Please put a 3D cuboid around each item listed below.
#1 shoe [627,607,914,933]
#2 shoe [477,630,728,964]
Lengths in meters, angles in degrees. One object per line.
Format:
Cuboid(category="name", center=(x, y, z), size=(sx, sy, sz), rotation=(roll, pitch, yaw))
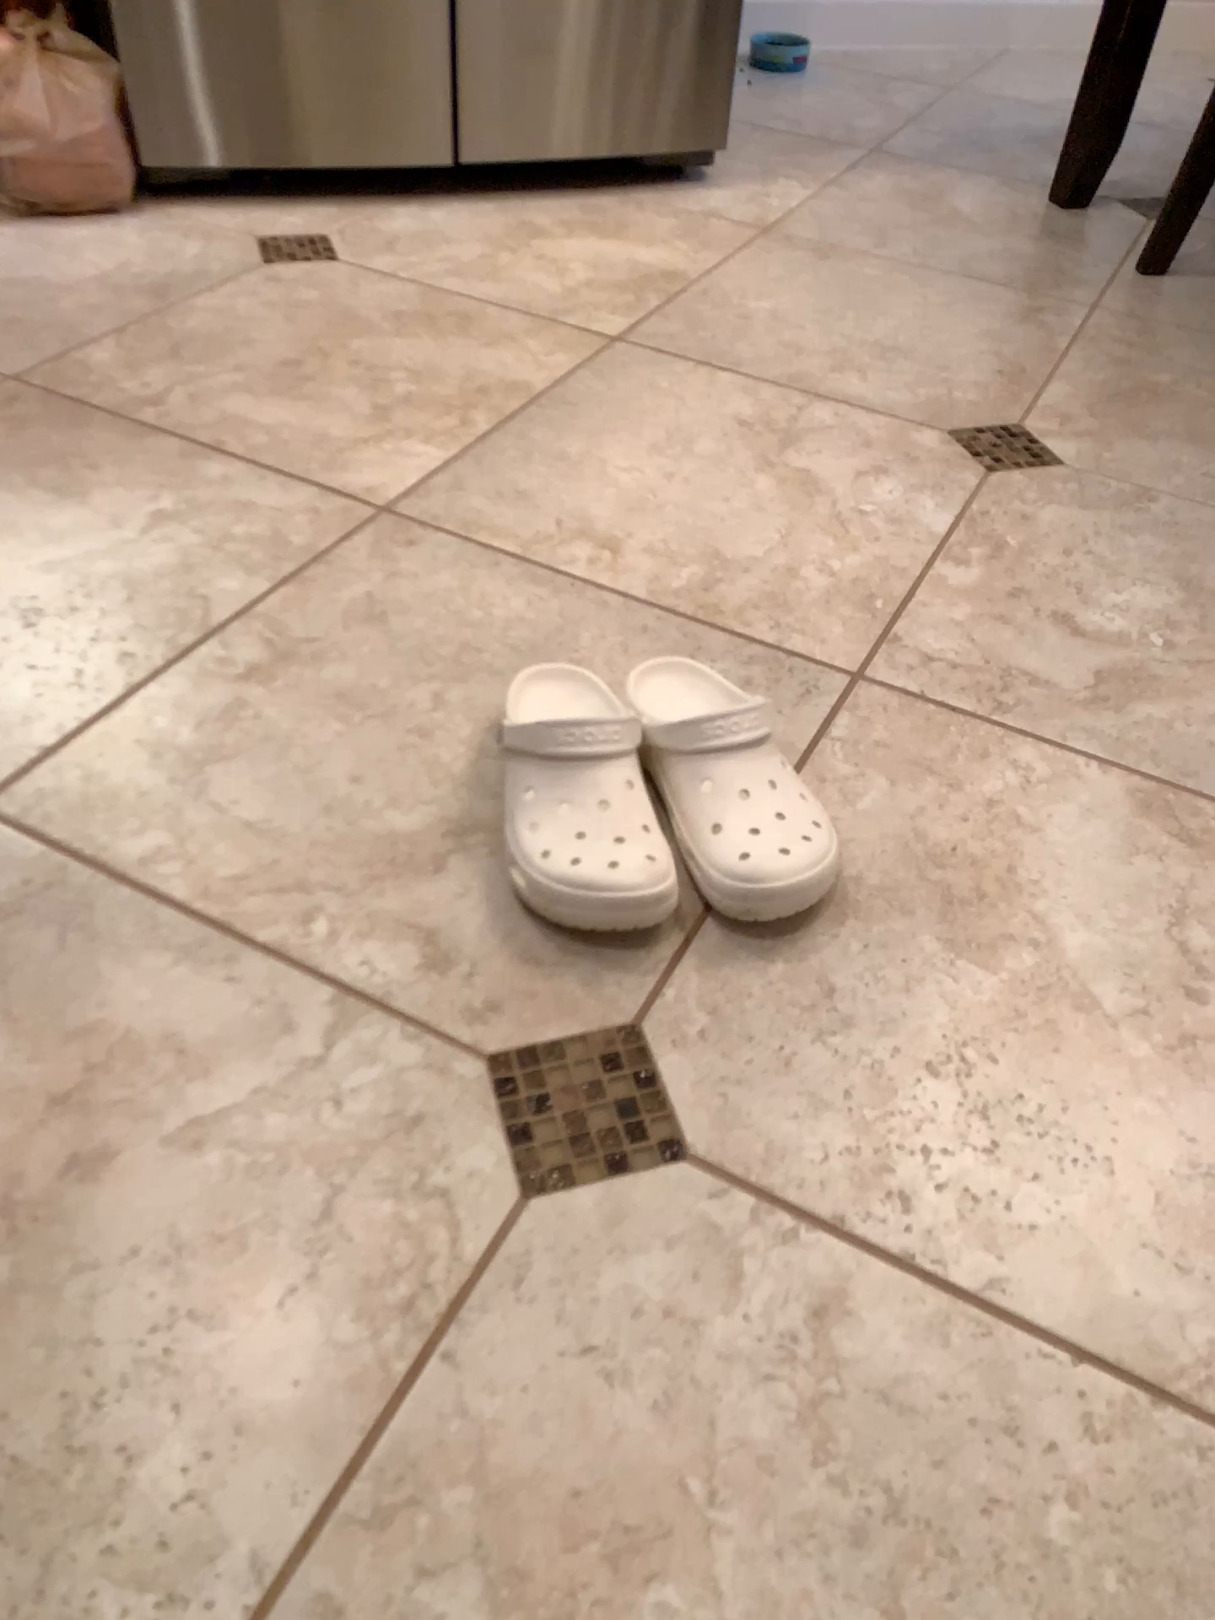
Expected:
Cuboid(category="shoe", center=(0.108, -0.040, 0.902), size=(0.119, 0.073, 0.262), rotation=(-8, 45, -13))
Cuboid(category="shoe", center=(-0.014, -0.020, 0.886), size=(0.129, 0.073, 0.262), rotation=(-5, 44, -11))
